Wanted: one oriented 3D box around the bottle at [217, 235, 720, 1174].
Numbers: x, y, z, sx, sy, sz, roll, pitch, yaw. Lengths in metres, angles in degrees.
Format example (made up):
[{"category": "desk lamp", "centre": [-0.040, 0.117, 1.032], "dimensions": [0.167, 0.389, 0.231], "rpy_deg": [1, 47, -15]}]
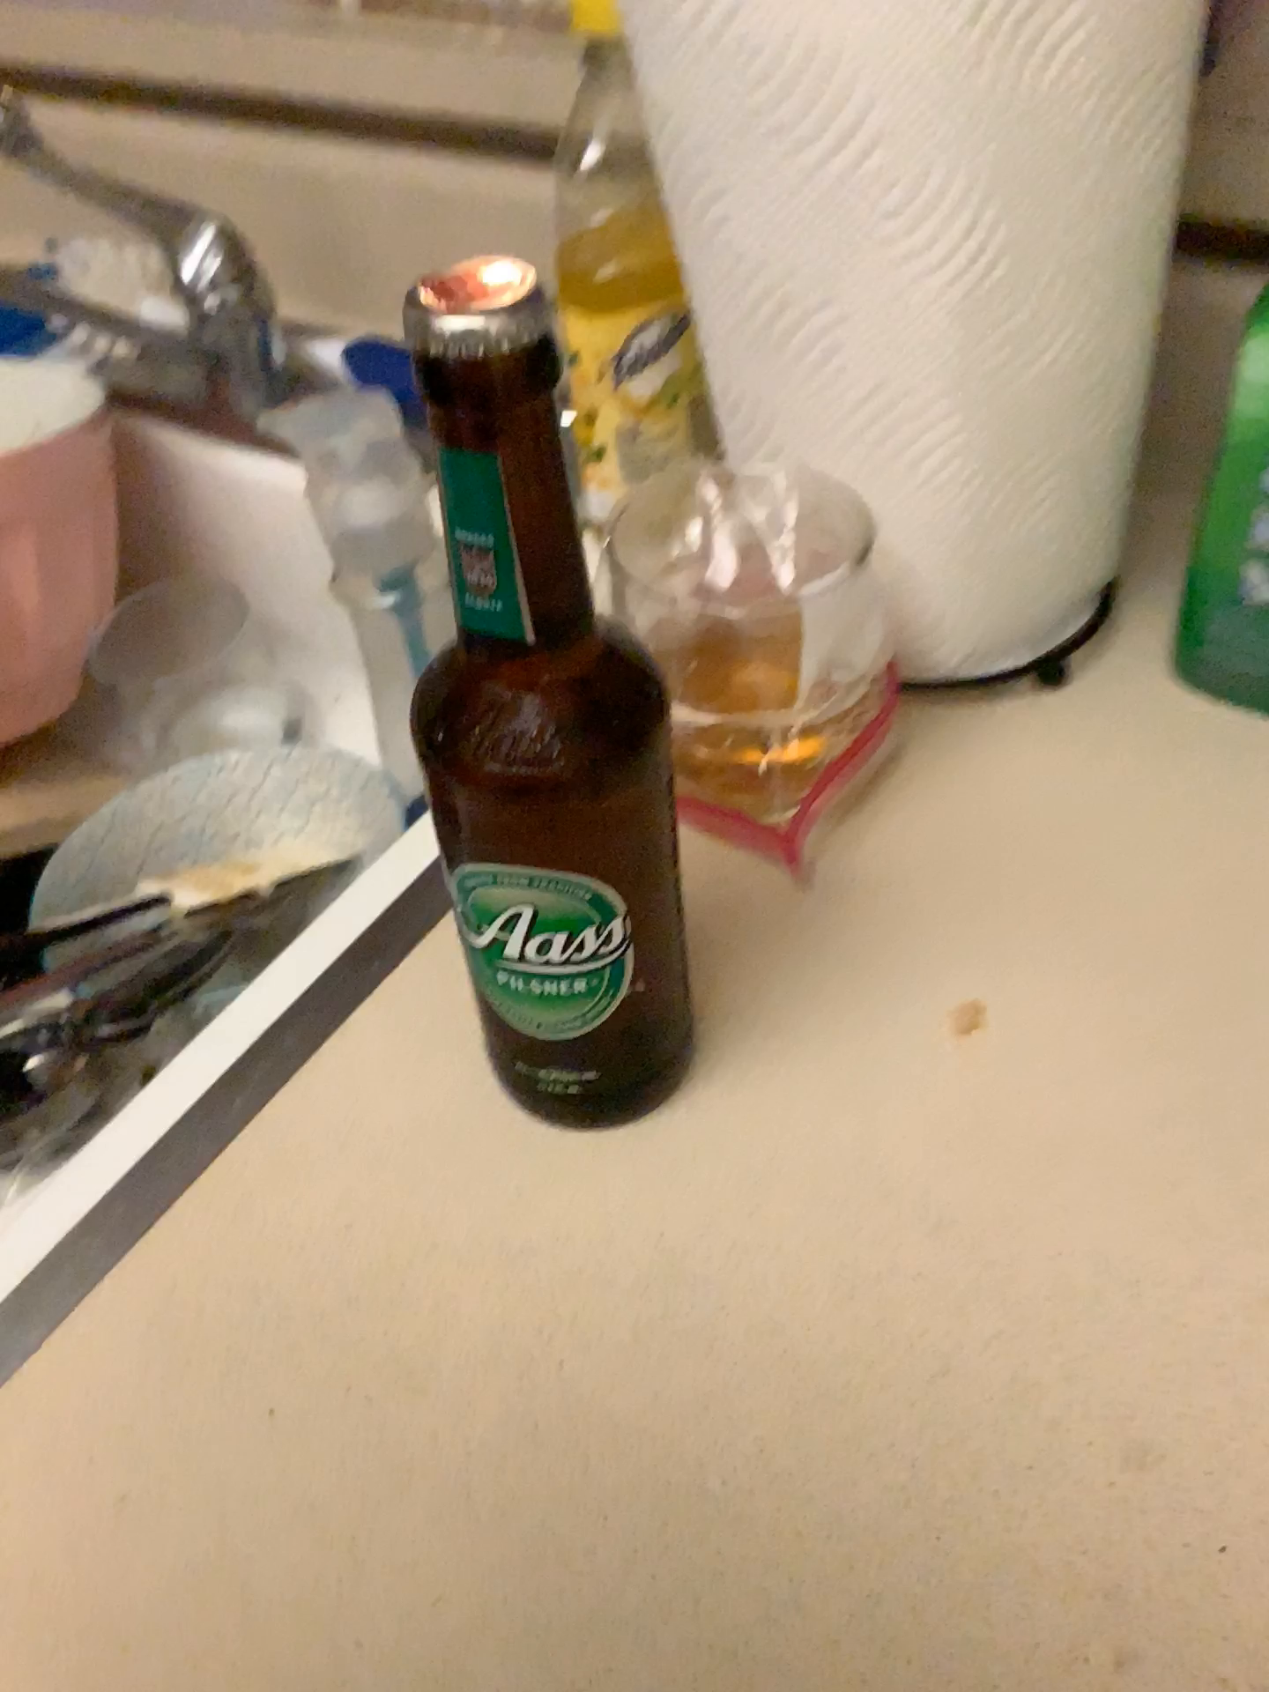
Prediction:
[{"category": "bottle", "centre": [-0.023, -0.017, 0.340], "dimensions": [0.070, 0.230, 0.060], "rpy_deg": [6, 44, 12]}]
